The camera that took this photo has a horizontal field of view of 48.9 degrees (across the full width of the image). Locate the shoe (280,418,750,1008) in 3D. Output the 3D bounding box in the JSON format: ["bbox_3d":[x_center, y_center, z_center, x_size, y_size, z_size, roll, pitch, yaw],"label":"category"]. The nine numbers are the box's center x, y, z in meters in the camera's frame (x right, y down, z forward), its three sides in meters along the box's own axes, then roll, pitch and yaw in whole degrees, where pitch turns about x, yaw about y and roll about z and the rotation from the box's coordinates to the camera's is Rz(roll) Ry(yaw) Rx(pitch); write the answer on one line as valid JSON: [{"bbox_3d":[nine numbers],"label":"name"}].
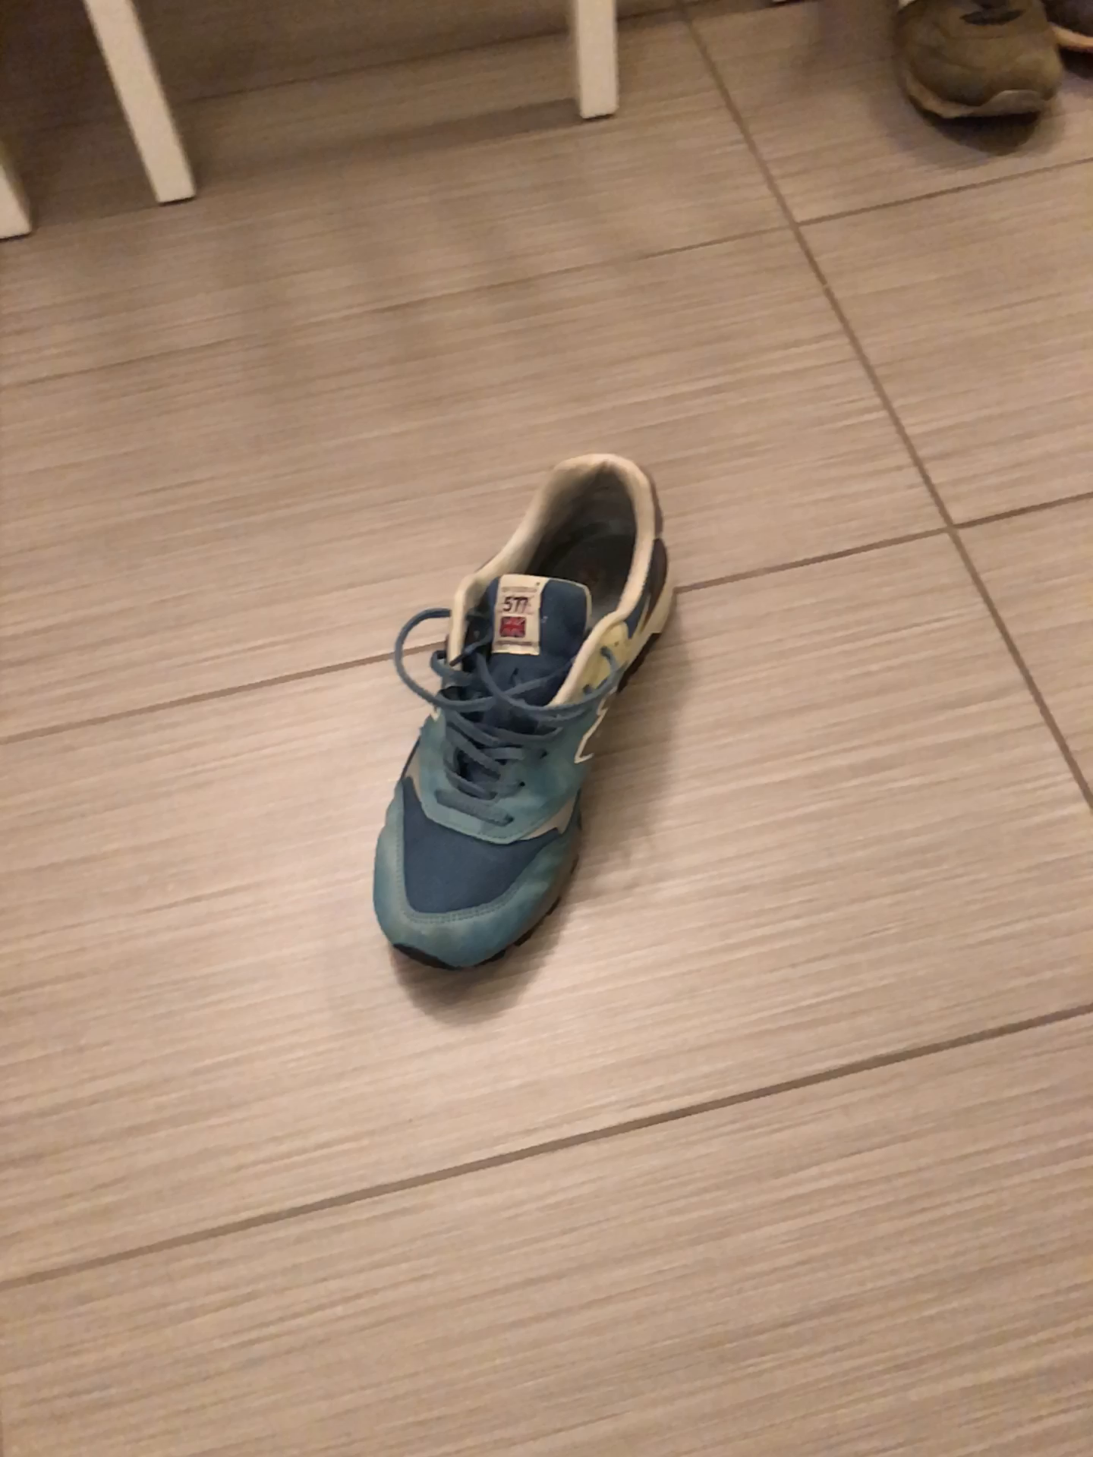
[{"bbox_3d":[-0.004,-0.021,0.645,0.130,0.070,0.301,19,63,15],"label":"shoe"}]
